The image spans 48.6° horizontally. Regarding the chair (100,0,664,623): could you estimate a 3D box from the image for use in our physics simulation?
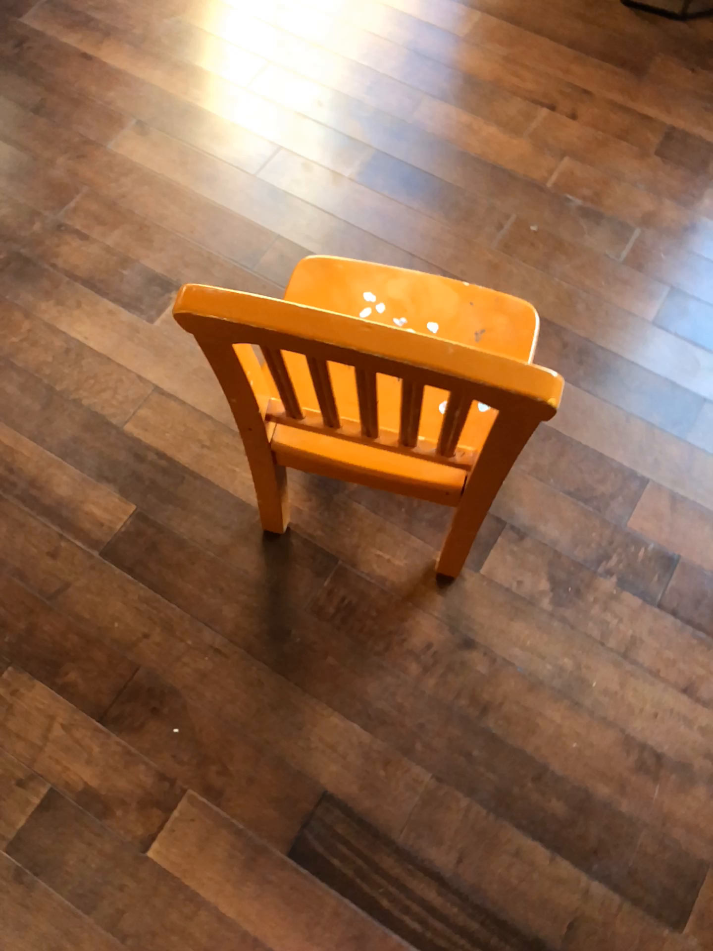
[{"bbox_3d":[0.035,-0.125,0.871,0.360,0.569,0.350,15,65,6],"label":"chair"}]
